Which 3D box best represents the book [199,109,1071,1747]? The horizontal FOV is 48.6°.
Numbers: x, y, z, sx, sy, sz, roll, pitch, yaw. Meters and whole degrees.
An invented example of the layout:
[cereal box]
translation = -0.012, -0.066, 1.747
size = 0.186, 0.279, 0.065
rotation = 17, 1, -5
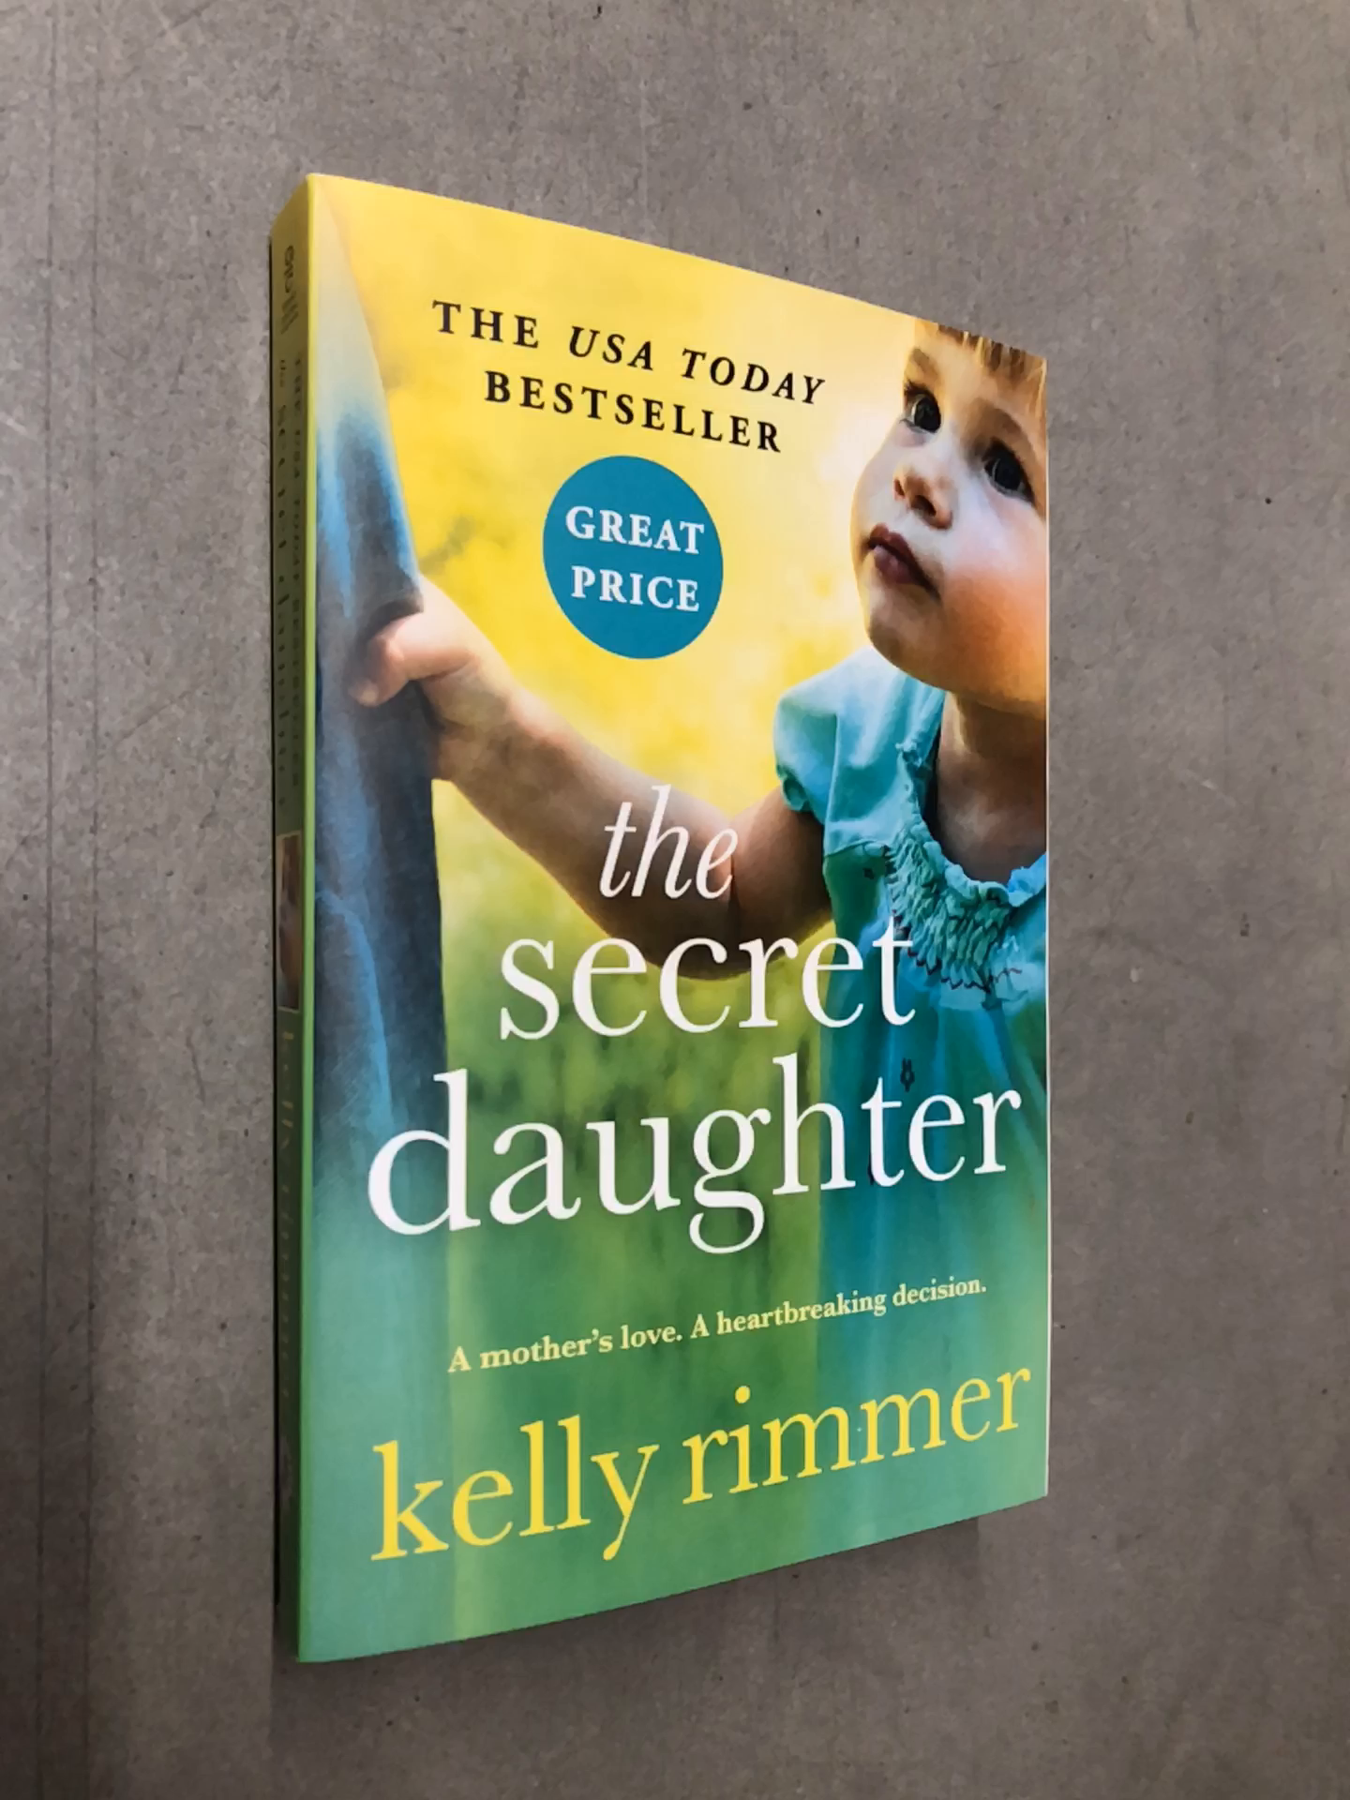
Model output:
[book]
translation = 0.000, 0.004, 0.239
size = 0.140, 0.030, 0.210
rotation = 1, 89, -29
